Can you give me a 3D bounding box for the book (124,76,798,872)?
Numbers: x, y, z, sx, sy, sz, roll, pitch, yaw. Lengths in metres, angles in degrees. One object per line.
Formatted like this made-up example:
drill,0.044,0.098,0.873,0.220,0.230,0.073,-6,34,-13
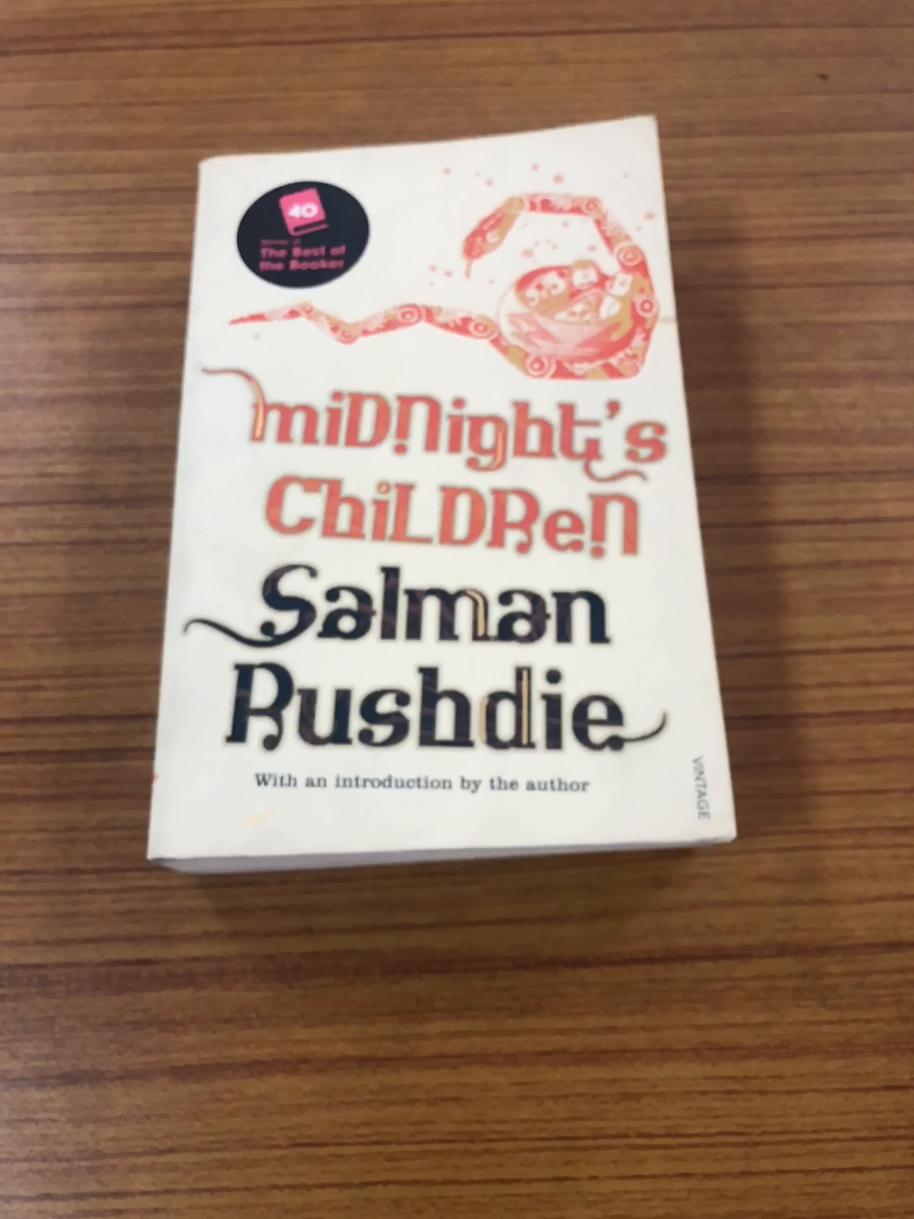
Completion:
book,-0.003,-0.040,0.269,0.140,0.040,0.200,-4,69,3
